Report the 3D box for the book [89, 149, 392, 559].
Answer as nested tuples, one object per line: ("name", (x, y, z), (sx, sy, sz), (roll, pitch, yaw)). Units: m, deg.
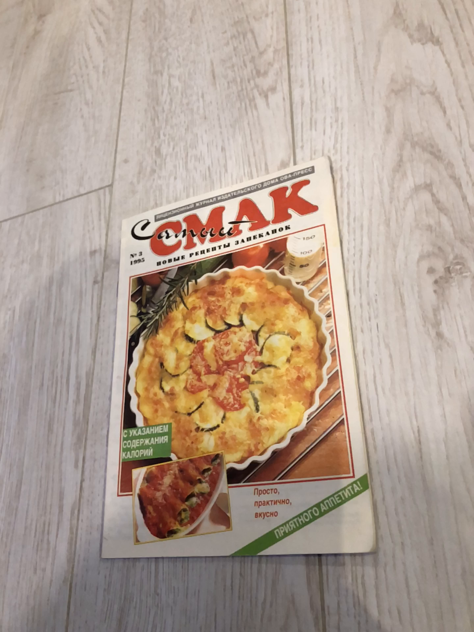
("book", (-0.008, 0.020, 0.320), (0.165, 0.020, 0.230), (-12, 64, 23))
